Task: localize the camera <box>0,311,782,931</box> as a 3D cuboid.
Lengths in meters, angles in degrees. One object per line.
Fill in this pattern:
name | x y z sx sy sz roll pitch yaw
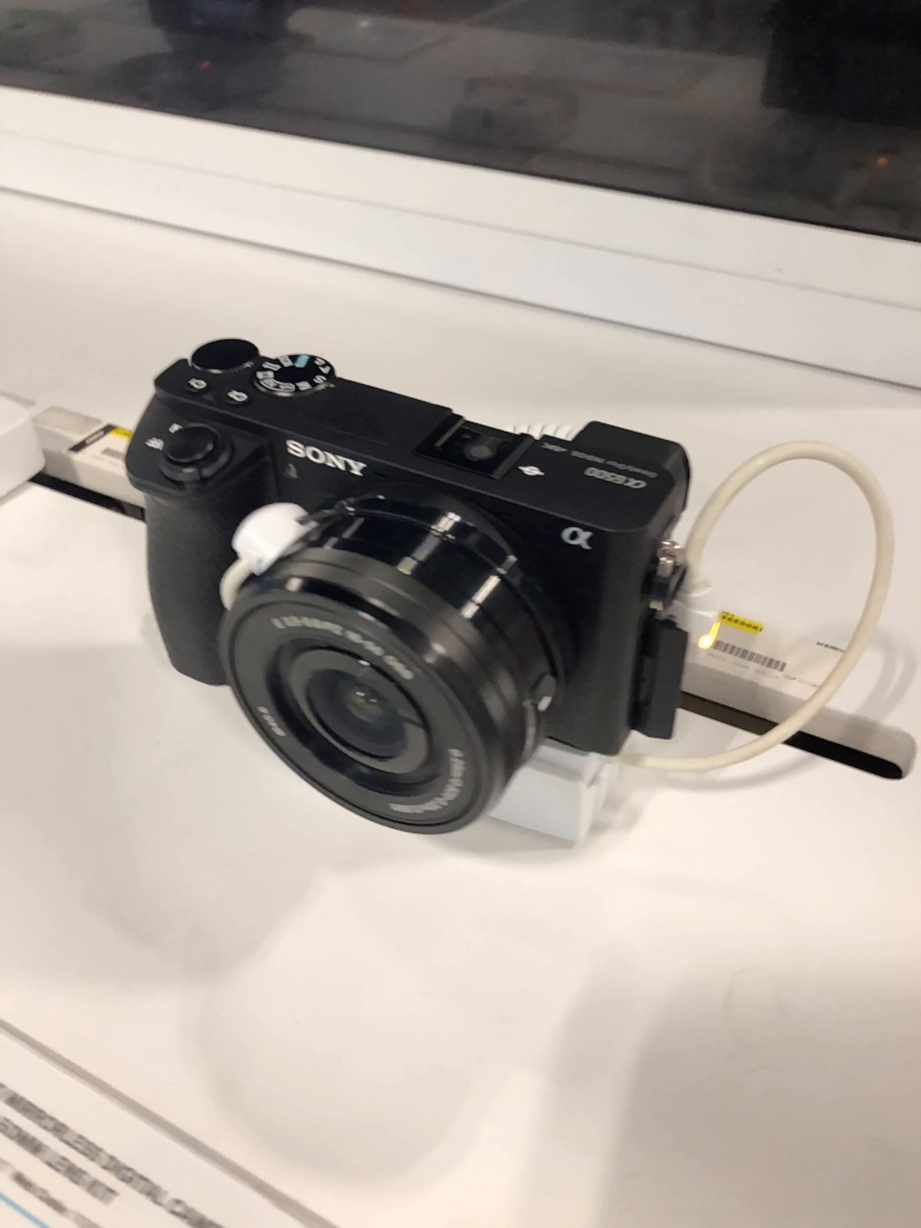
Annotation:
camera | -0.015 -0.006 0.224 0.140 0.070 0.070 19 44 19
